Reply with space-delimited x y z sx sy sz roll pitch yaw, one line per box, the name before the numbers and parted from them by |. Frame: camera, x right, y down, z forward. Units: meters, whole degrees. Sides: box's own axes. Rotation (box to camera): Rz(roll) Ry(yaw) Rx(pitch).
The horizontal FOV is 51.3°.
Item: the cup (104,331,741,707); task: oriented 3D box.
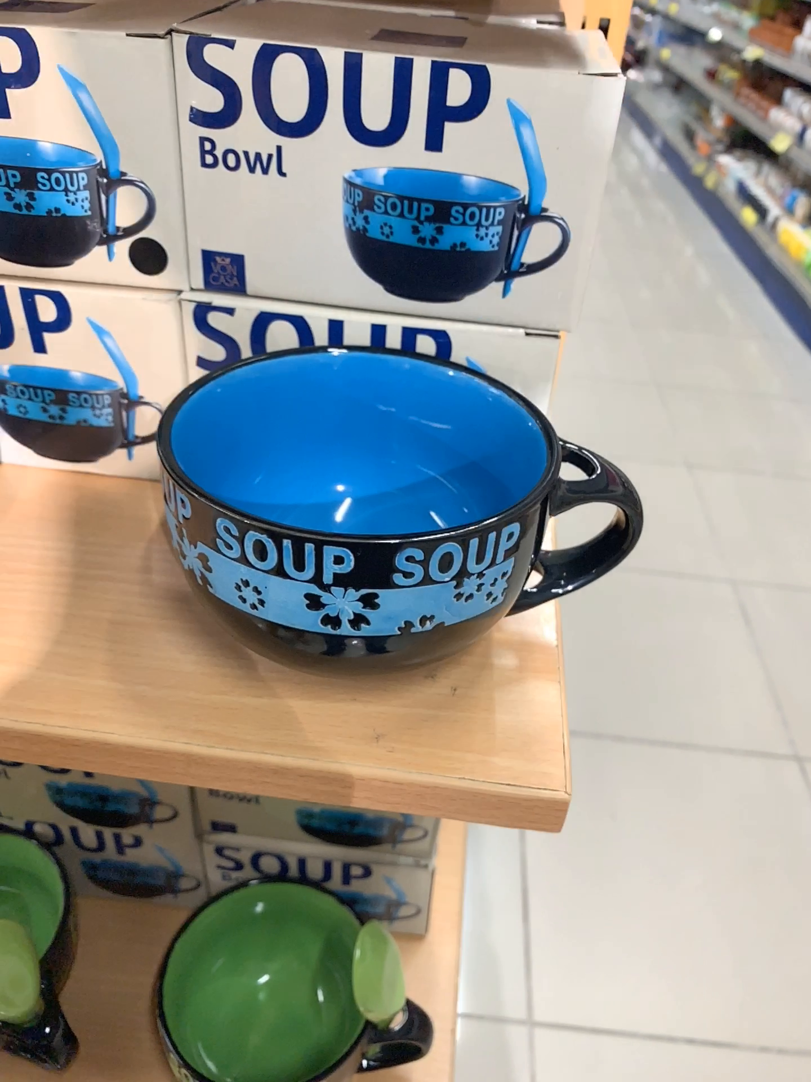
cup | 0.001 -0.010 0.254 0.150 0.060 0.100 3 36 -6
